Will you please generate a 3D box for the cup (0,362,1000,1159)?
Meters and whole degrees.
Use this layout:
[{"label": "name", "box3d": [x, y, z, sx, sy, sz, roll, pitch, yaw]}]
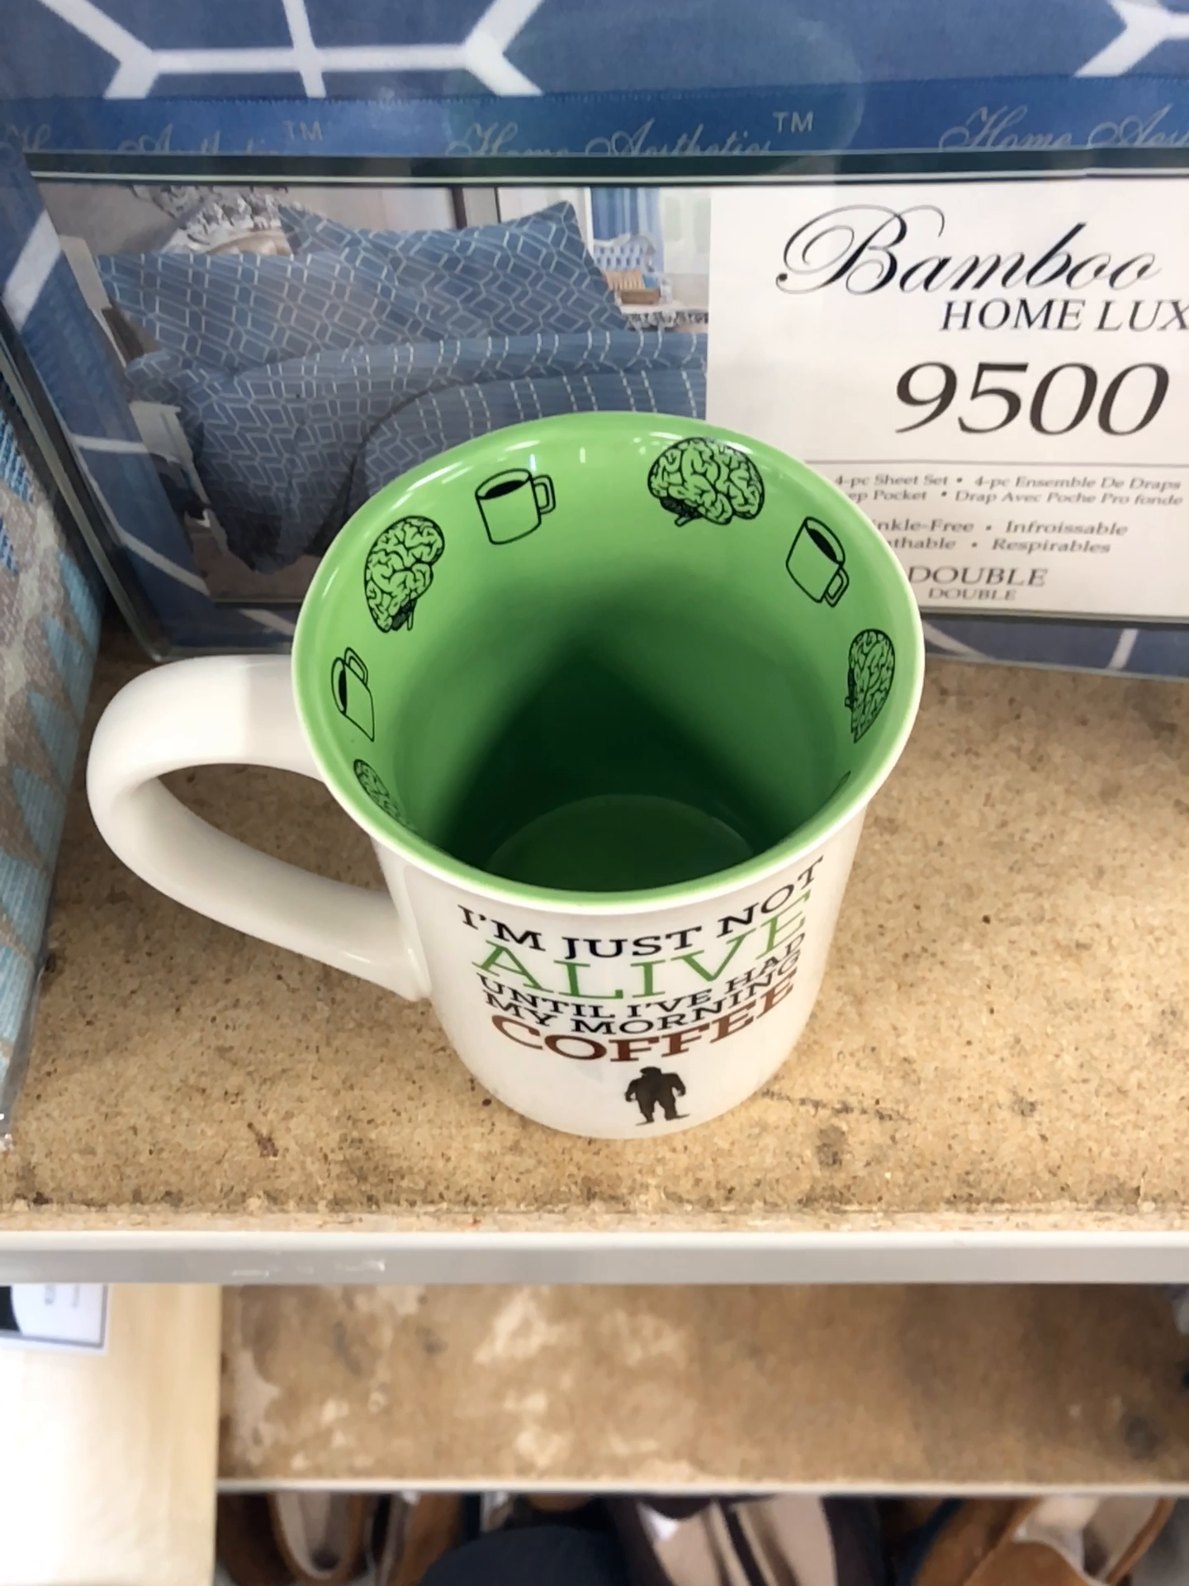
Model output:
[{"label": "cup", "box3d": [-0.012, 0.002, 0.258, 0.138, 0.124, 0.099, 0, 57, 3]}]
